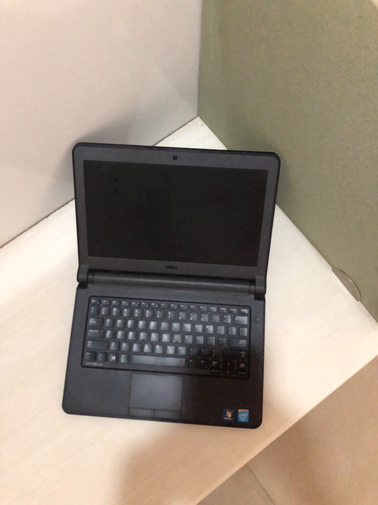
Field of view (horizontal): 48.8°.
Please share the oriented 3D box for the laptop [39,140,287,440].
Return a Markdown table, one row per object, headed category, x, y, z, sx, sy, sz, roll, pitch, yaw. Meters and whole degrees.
| category | x | y | z | sx | sy | sz | roll | pitch | yaw |
| --- | --- | --- | --- | --- | --- | --- | --- | --- | --- |
| laptop | -0.026 | 0.051 | 0.638 | 0.309 | 0.129 | 0.394 | 4 | 78 | 4 |
